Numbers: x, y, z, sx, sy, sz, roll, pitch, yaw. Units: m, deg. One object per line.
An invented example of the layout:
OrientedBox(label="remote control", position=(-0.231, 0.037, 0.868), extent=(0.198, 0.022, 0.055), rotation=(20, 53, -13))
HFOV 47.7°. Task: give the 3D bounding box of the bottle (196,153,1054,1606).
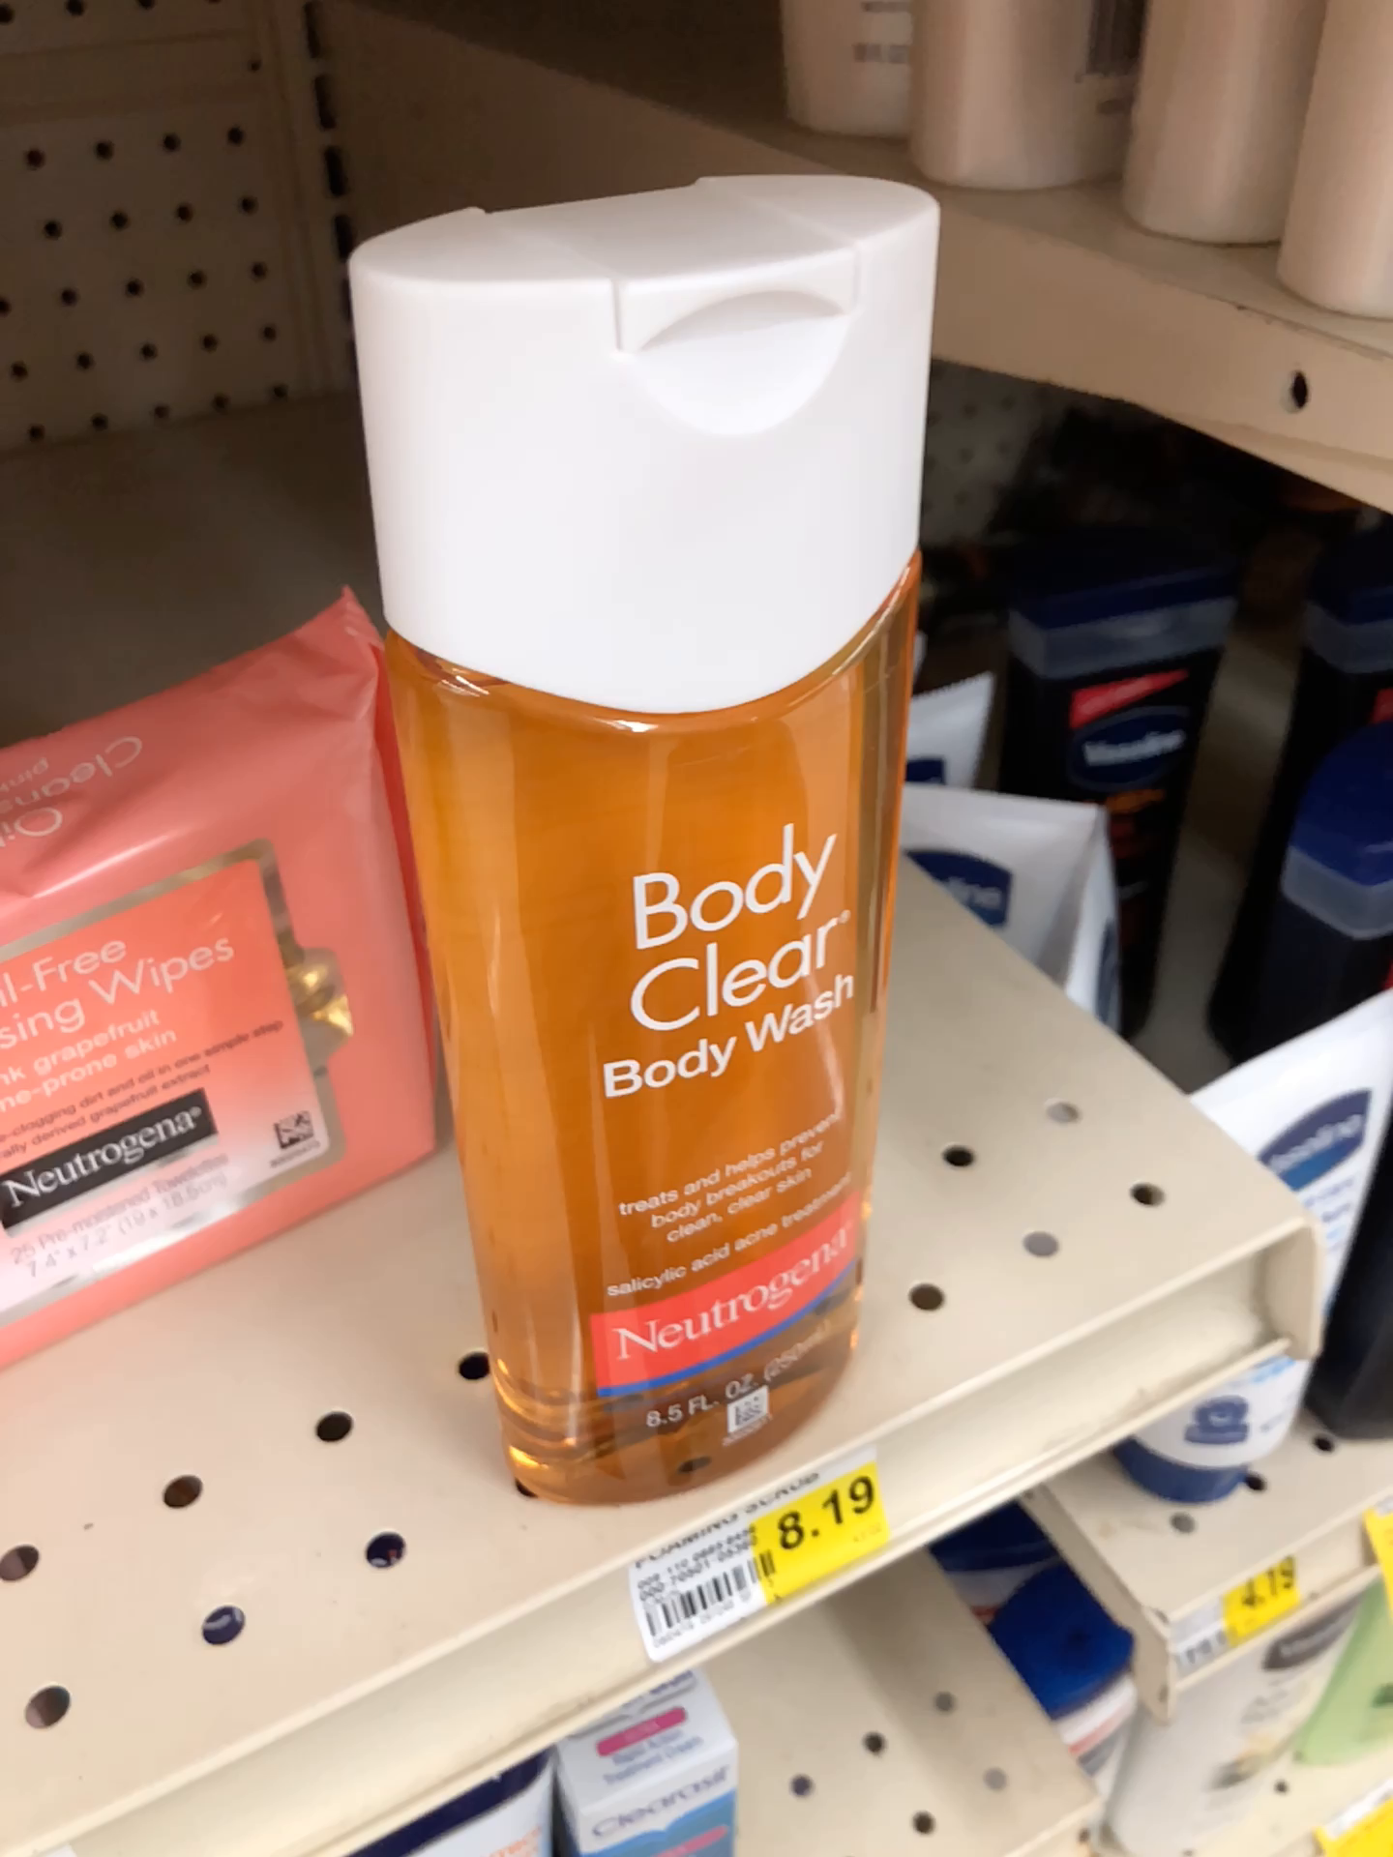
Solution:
OrientedBox(label="bottle", position=(-0.008, 0.008, 0.212), extent=(0.070, 0.190, 0.045), rotation=(-19, 43, -22))
